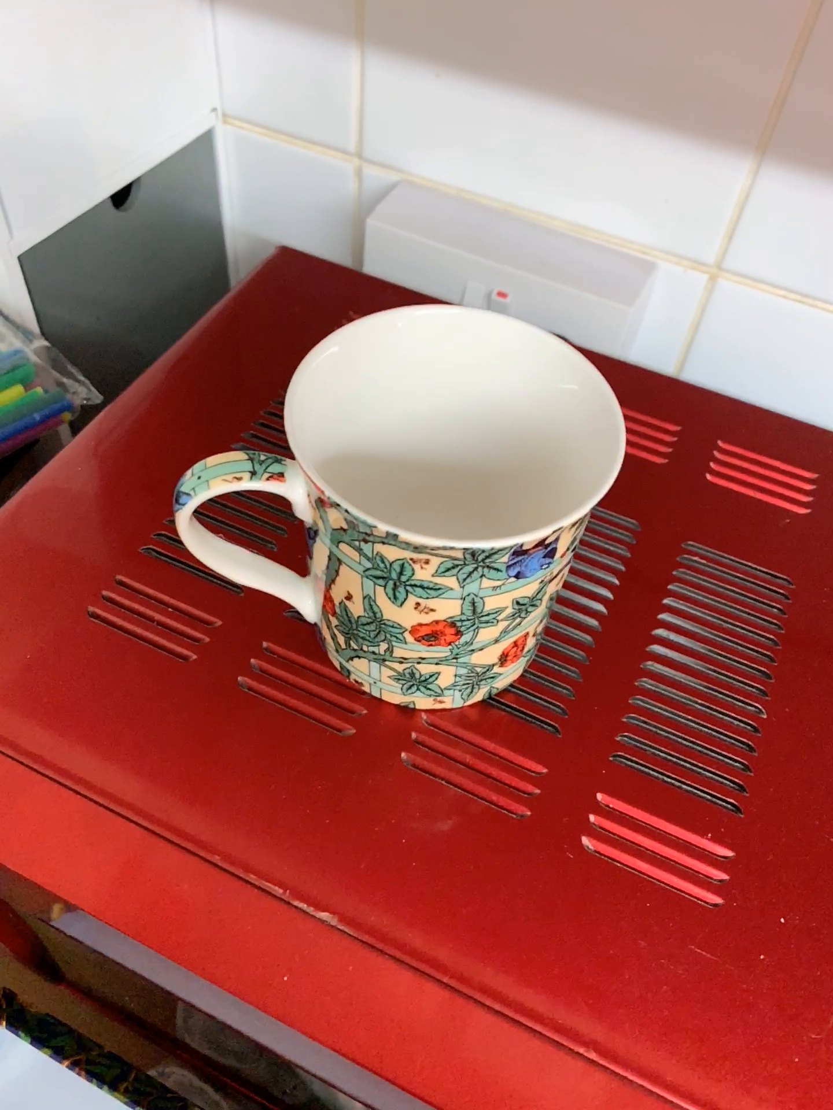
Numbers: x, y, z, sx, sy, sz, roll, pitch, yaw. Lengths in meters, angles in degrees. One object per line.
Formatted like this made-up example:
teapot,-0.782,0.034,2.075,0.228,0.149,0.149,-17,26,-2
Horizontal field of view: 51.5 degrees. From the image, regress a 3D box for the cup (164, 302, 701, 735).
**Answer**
cup,-0.002,-0.010,0.231,0.110,0.079,0.081,-2,52,-7
